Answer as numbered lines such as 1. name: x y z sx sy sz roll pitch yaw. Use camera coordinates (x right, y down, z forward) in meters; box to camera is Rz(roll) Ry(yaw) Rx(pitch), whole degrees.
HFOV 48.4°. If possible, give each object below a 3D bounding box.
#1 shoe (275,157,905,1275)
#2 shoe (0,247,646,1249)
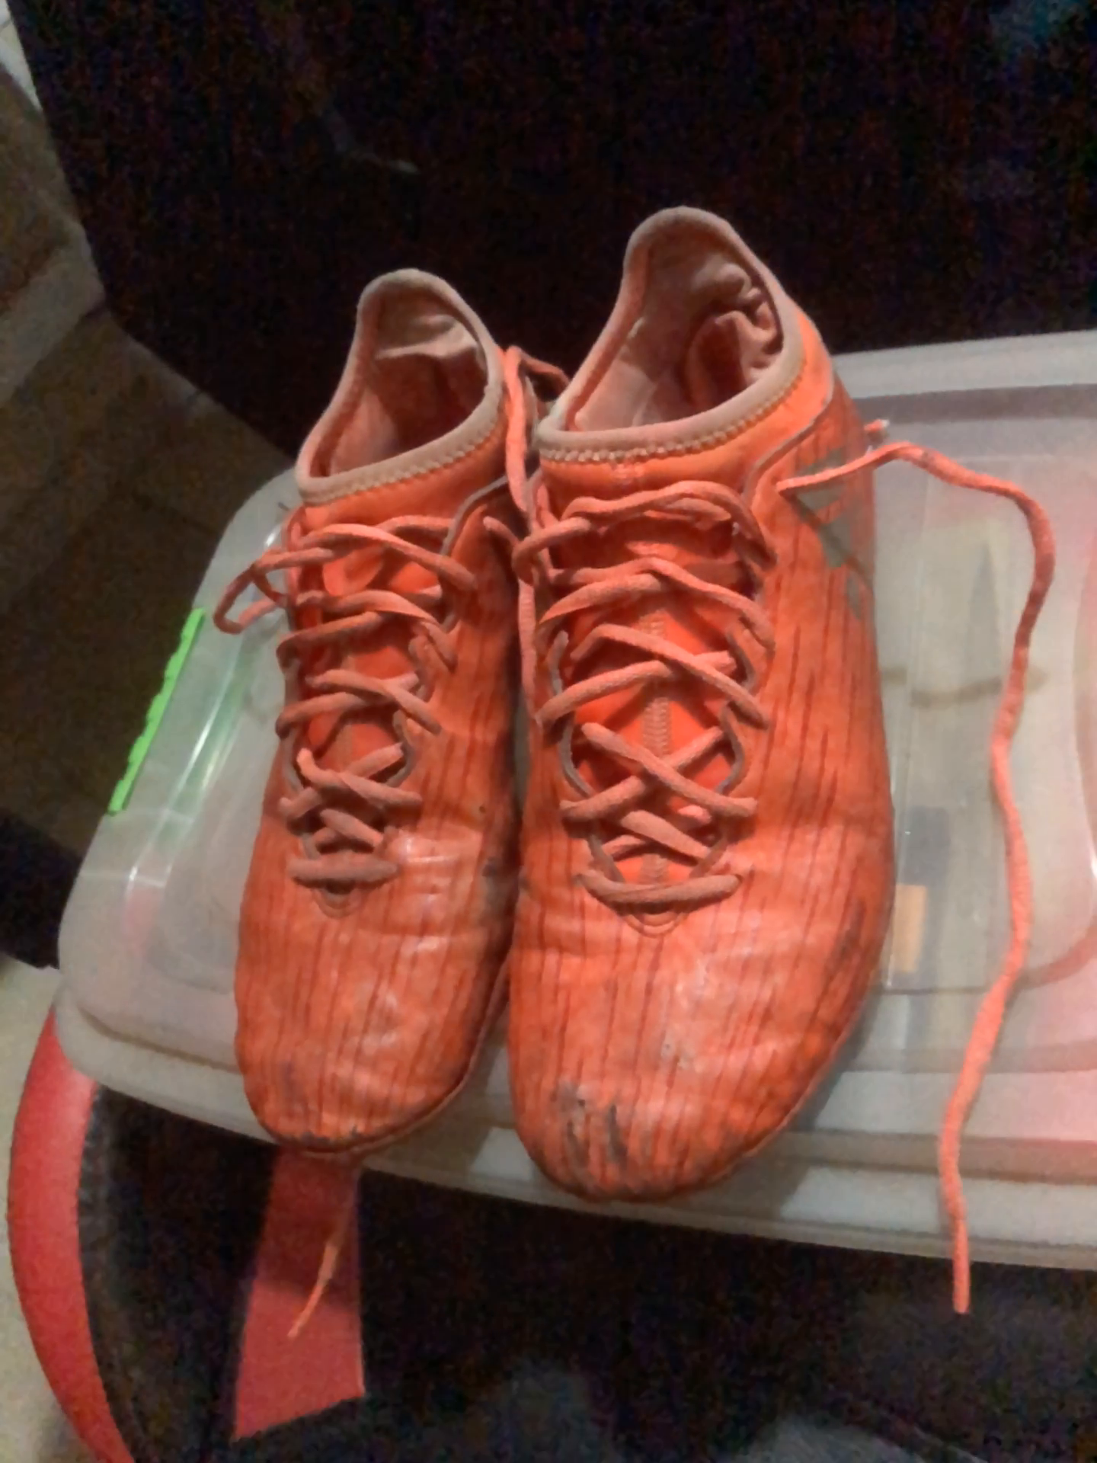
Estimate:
1. shoe: 0.034 -0.004 0.316 0.090 0.129 0.241 -4 58 25
2. shoe: -0.049 0.004 0.351 0.090 0.129 0.241 -4 58 25
